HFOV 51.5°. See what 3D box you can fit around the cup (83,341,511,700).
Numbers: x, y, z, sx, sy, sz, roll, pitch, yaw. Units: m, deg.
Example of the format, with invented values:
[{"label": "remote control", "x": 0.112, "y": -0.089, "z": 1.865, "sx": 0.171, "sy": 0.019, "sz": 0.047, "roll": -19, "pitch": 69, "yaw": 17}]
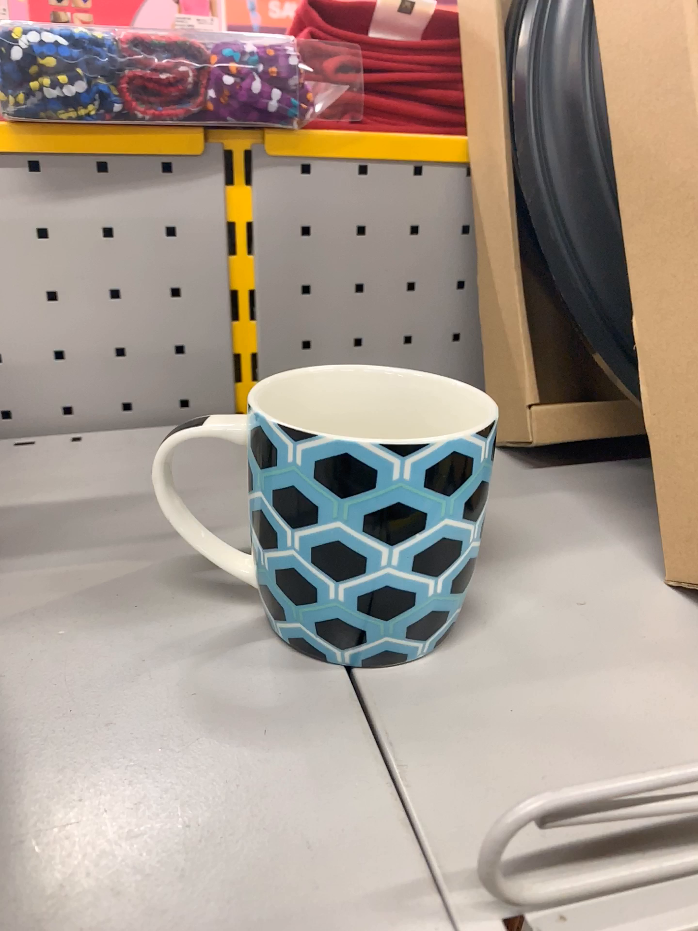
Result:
[{"label": "cup", "x": -0.013, "y": 0.013, "z": 0.260, "sx": 0.120, "sy": 0.090, "sz": 0.090, "roll": 3, "pitch": 24, "yaw": 3}]
